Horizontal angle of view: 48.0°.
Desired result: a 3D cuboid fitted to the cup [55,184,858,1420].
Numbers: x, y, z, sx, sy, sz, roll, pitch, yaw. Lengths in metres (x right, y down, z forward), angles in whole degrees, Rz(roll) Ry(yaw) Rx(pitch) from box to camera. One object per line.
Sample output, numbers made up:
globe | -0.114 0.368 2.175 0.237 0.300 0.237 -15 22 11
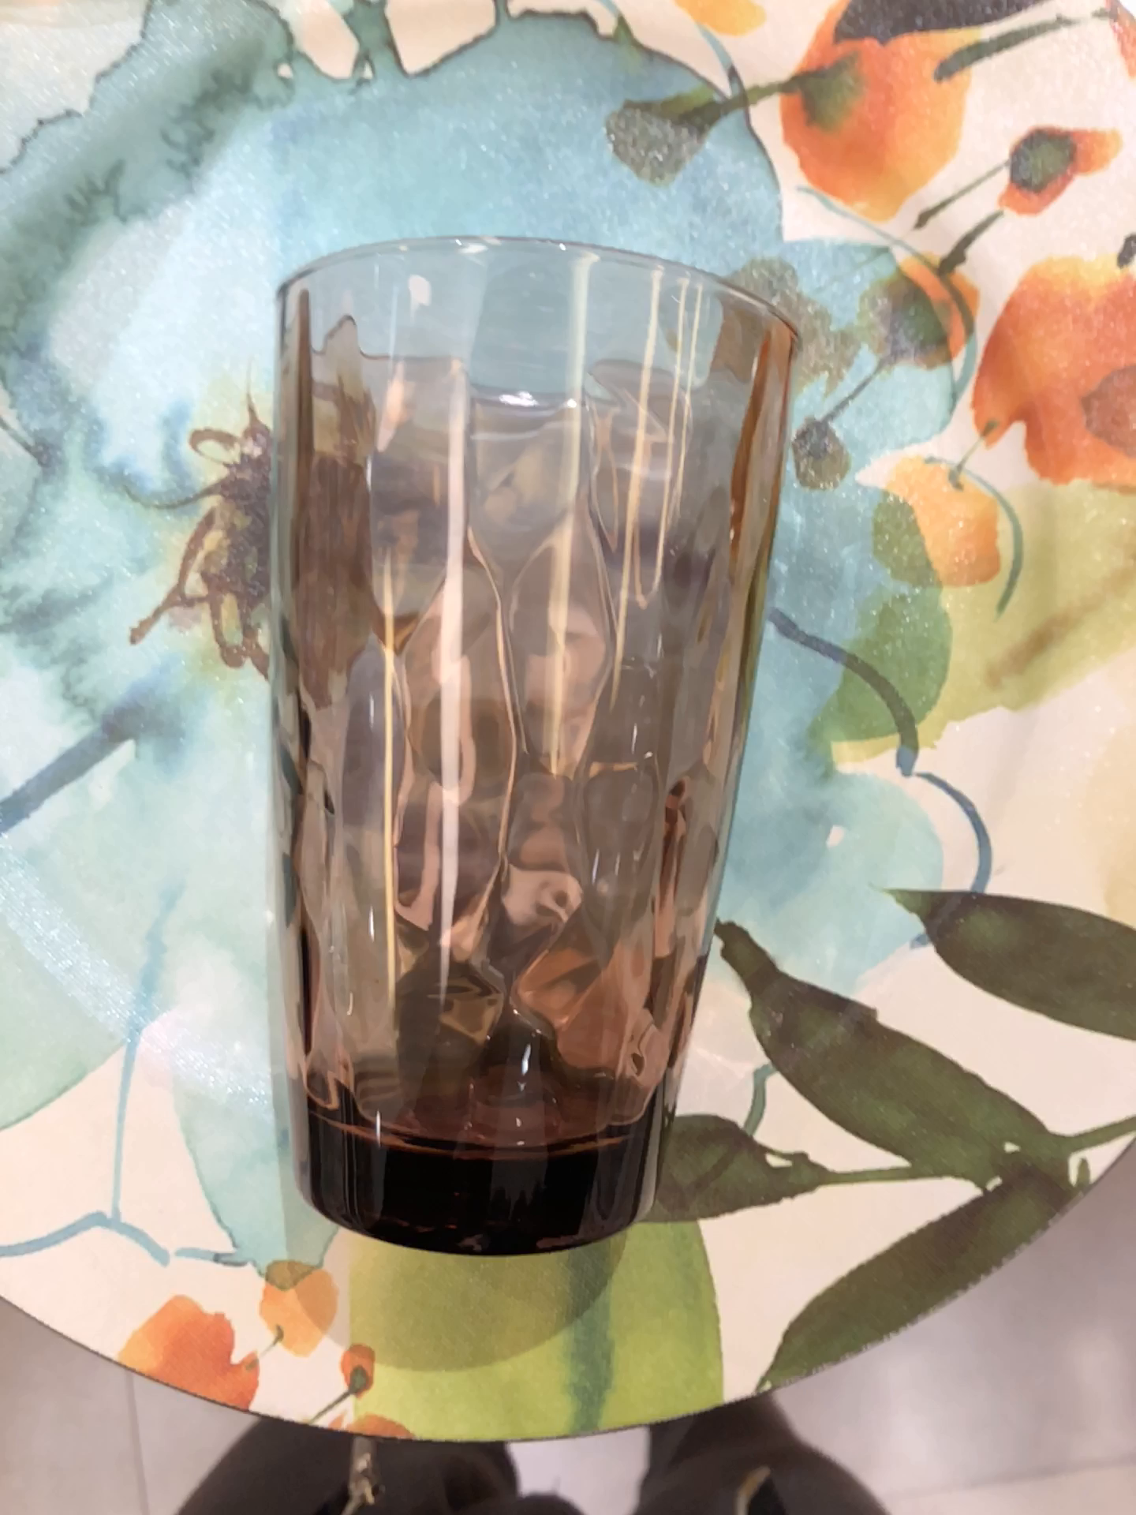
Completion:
cup | -0.011 0.005 0.201 0.090 0.080 0.150 4 85 4
